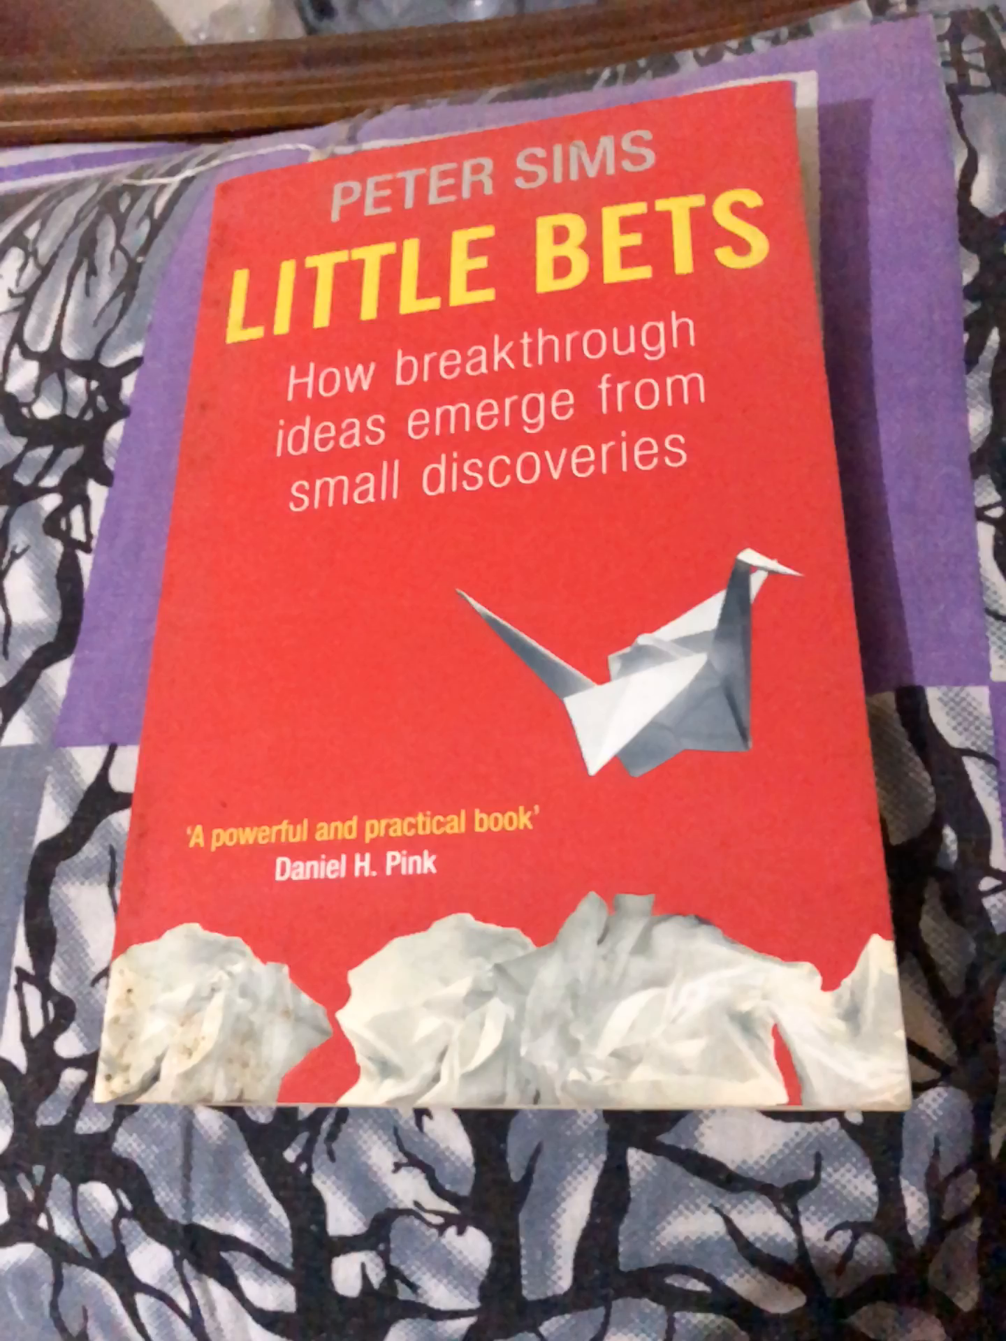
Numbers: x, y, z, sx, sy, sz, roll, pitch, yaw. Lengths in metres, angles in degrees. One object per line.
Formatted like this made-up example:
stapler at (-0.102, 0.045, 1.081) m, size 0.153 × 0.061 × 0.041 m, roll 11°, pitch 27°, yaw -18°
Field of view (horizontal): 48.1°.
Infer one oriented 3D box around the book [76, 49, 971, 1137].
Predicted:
book at (0.000, -0.029, 0.245) m, size 0.150 × 0.020 × 0.240 m, roll -6°, pitch 64°, yaw 14°
